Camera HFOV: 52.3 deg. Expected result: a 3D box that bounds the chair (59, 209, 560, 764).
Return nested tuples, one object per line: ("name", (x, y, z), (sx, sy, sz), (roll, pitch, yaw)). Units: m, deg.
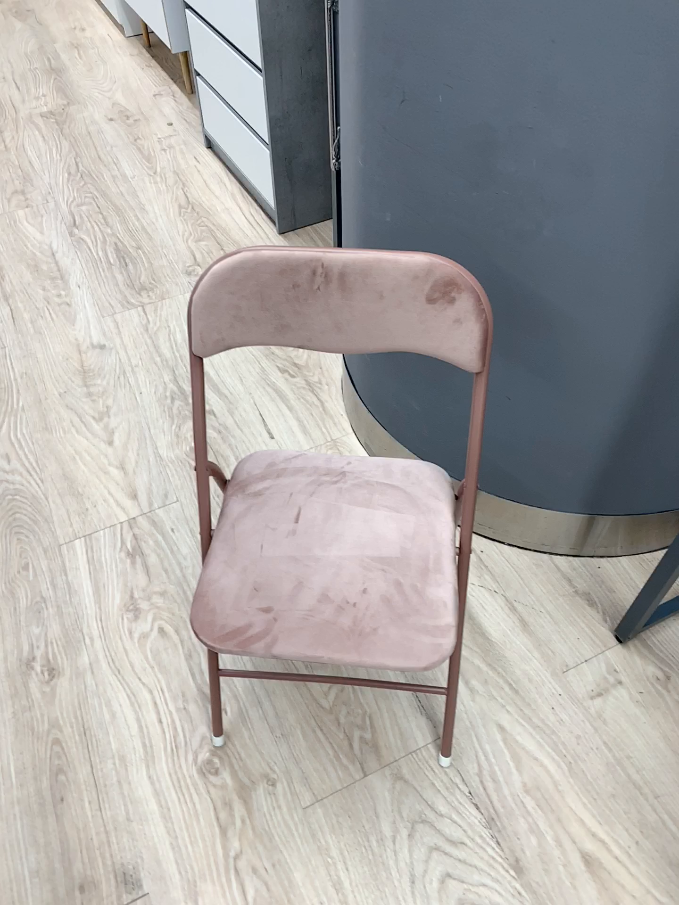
("chair", (-0.014, 0.111, 1.093), (0.460, 0.797, 0.482), (2, 50, 2))
